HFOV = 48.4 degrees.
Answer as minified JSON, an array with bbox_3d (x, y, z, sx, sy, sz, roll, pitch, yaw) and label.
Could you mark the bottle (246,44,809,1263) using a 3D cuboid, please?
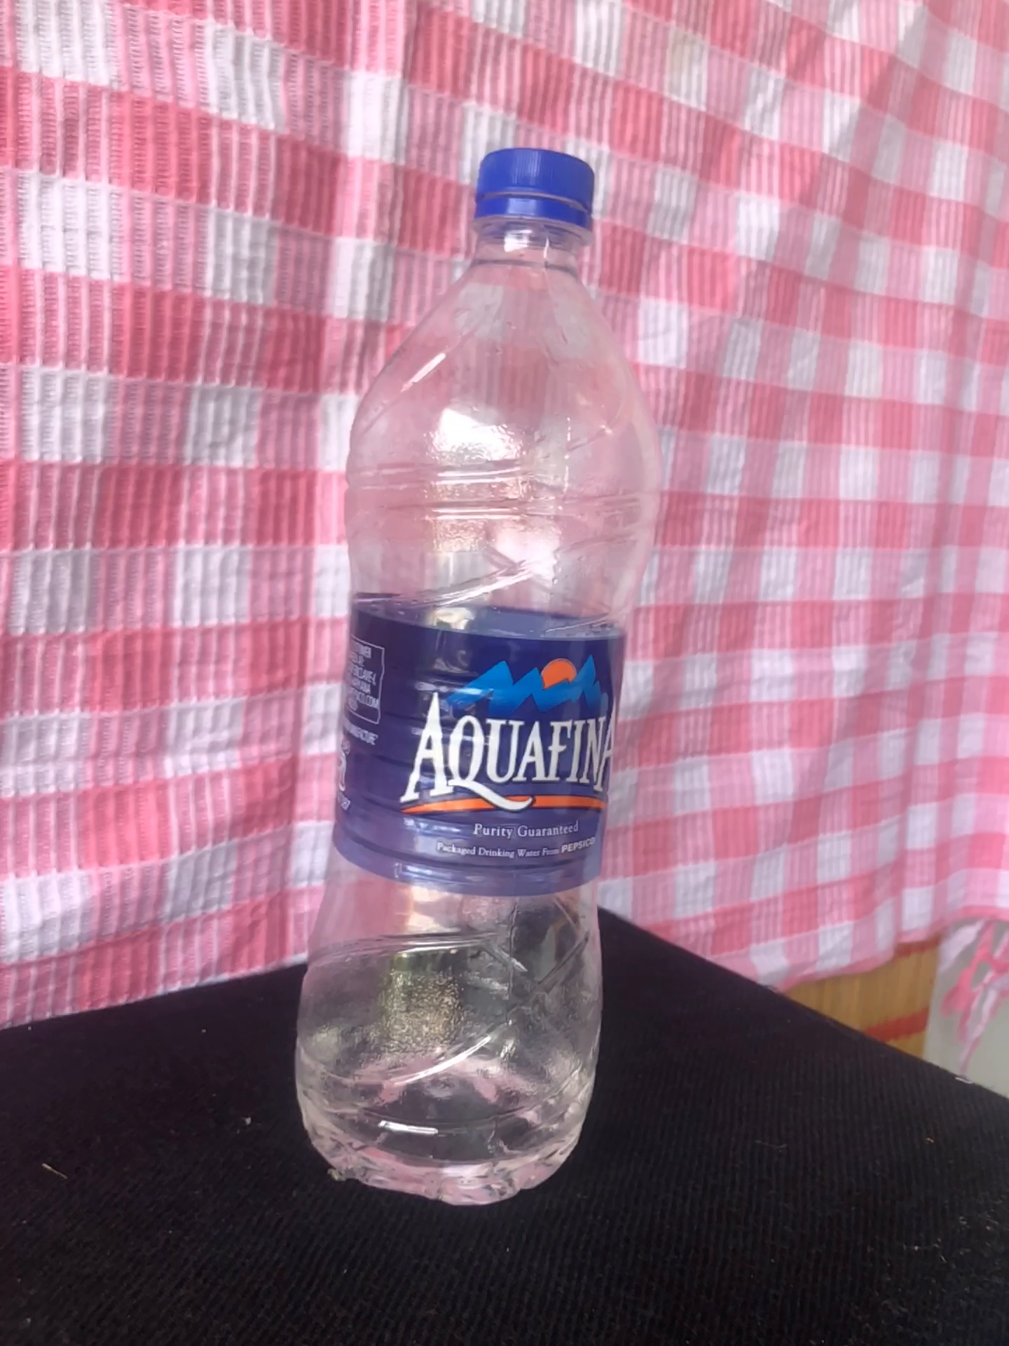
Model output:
[{"bbox_3d":[-0.004,0.003,0.281,0.090,0.259,0.070,4,10,-18],"label":"bottle"}]
